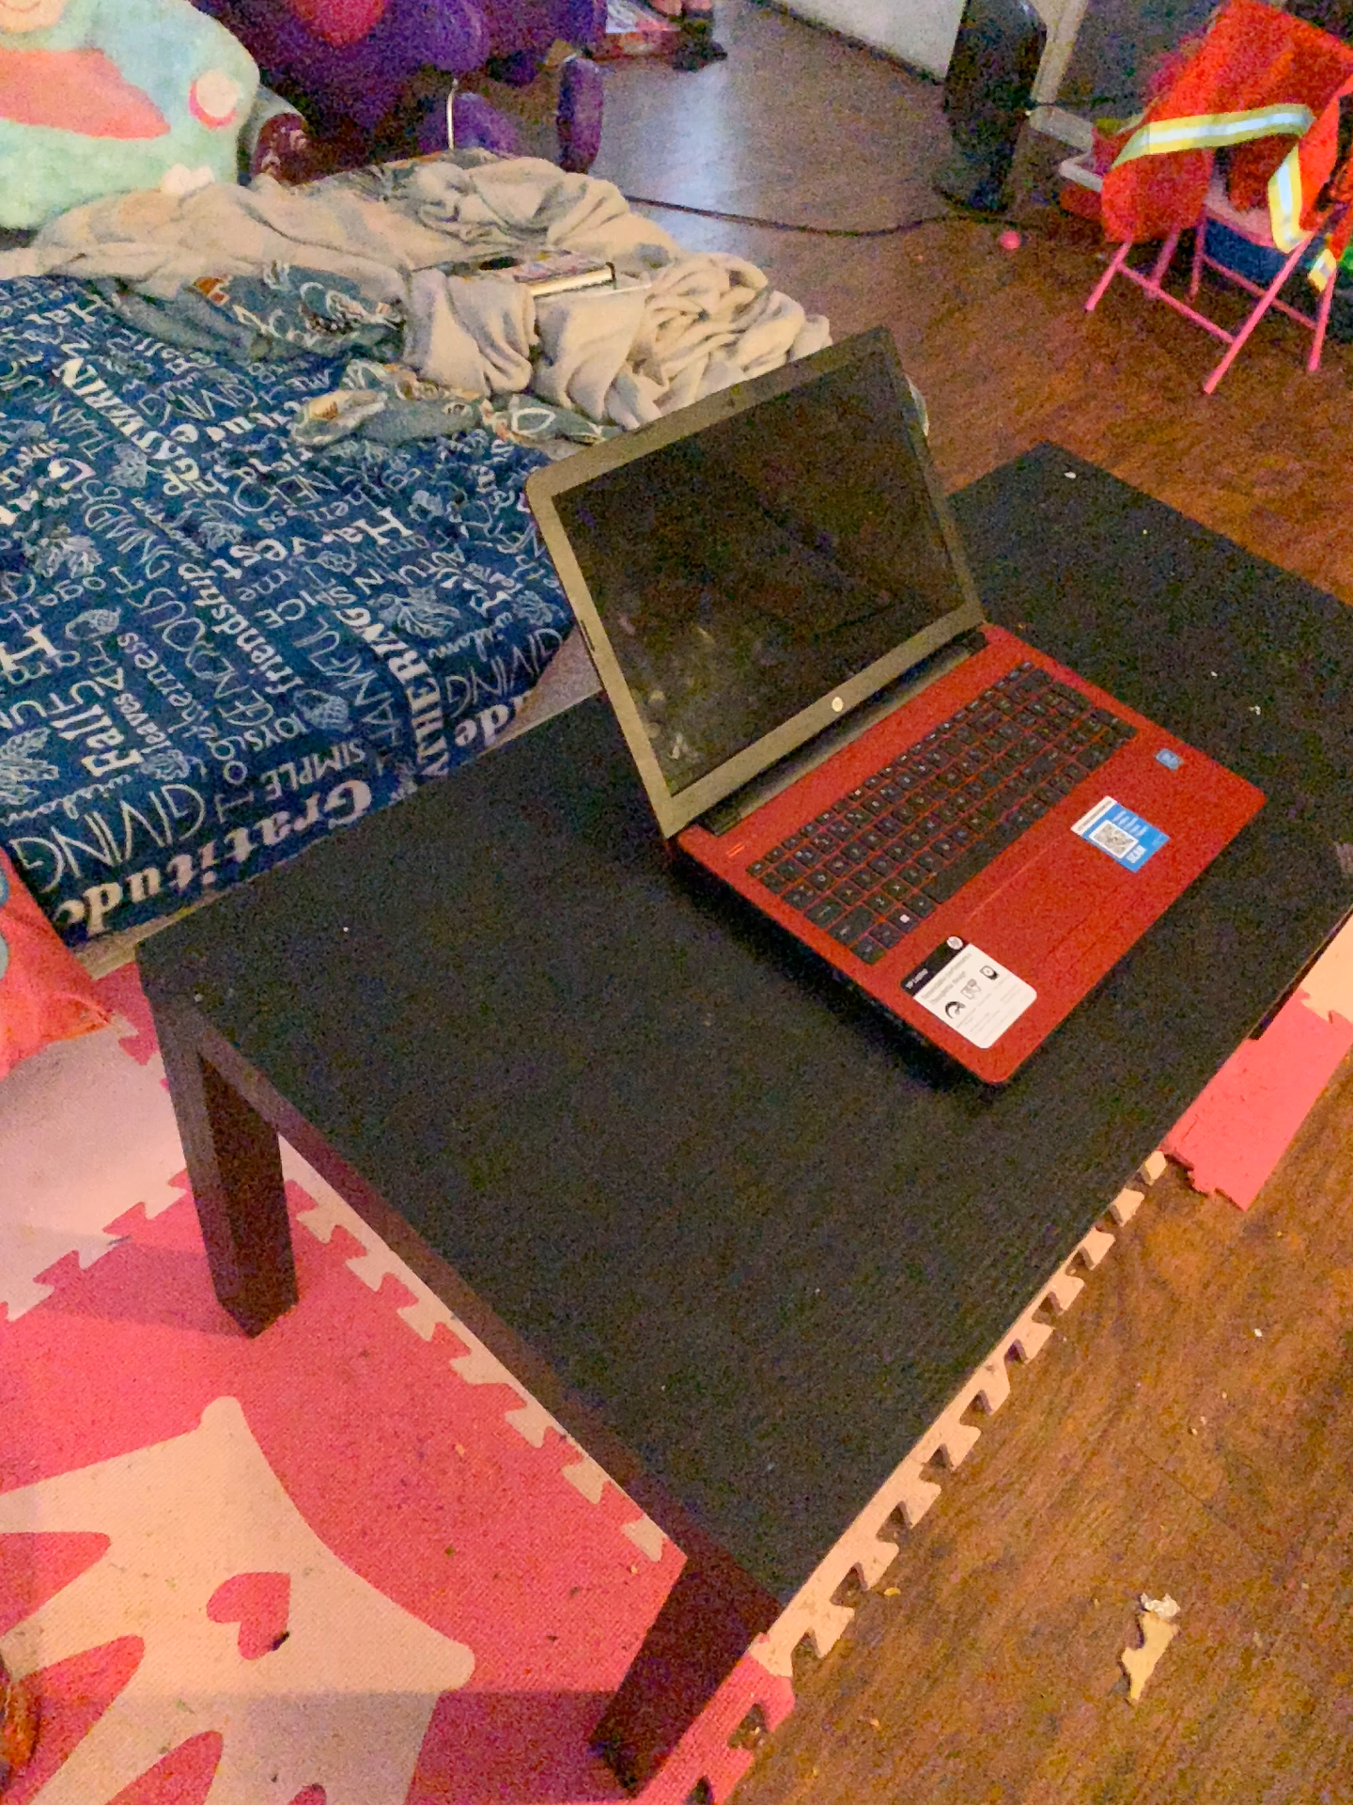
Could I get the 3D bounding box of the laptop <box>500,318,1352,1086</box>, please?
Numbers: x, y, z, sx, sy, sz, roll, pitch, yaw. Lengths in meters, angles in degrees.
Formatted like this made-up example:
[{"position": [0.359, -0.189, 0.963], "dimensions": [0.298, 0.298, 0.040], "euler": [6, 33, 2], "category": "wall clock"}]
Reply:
[{"position": [0.167, -0.164, 0.904], "dimensions": [0.410, 0.169, 0.377], "euler": [38, 52, 20], "category": "laptop"}]
